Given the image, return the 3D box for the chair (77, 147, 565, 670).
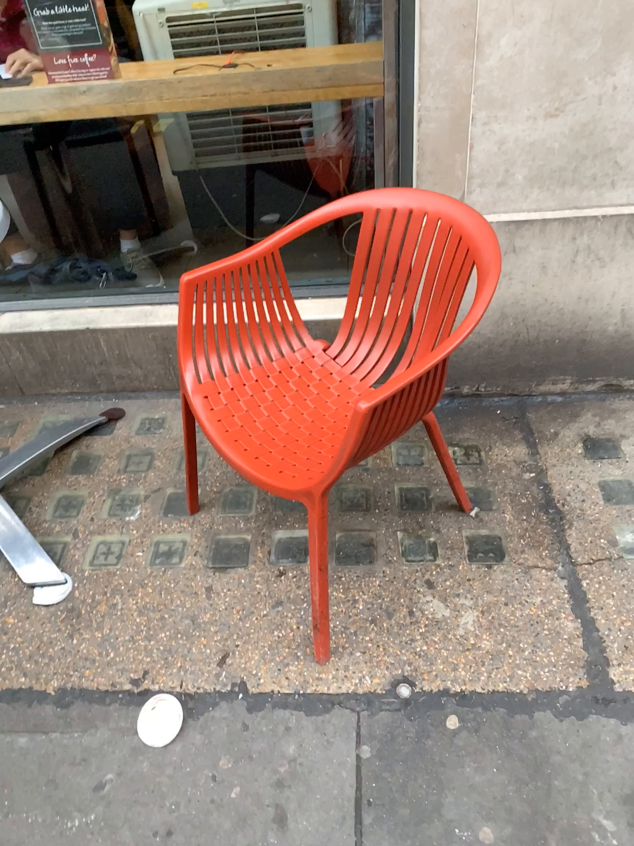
[{"bbox_3d":[0.020,-0.063,1.336,0.612,0.693,0.584,-32,48,-26],"label":"chair"}]
